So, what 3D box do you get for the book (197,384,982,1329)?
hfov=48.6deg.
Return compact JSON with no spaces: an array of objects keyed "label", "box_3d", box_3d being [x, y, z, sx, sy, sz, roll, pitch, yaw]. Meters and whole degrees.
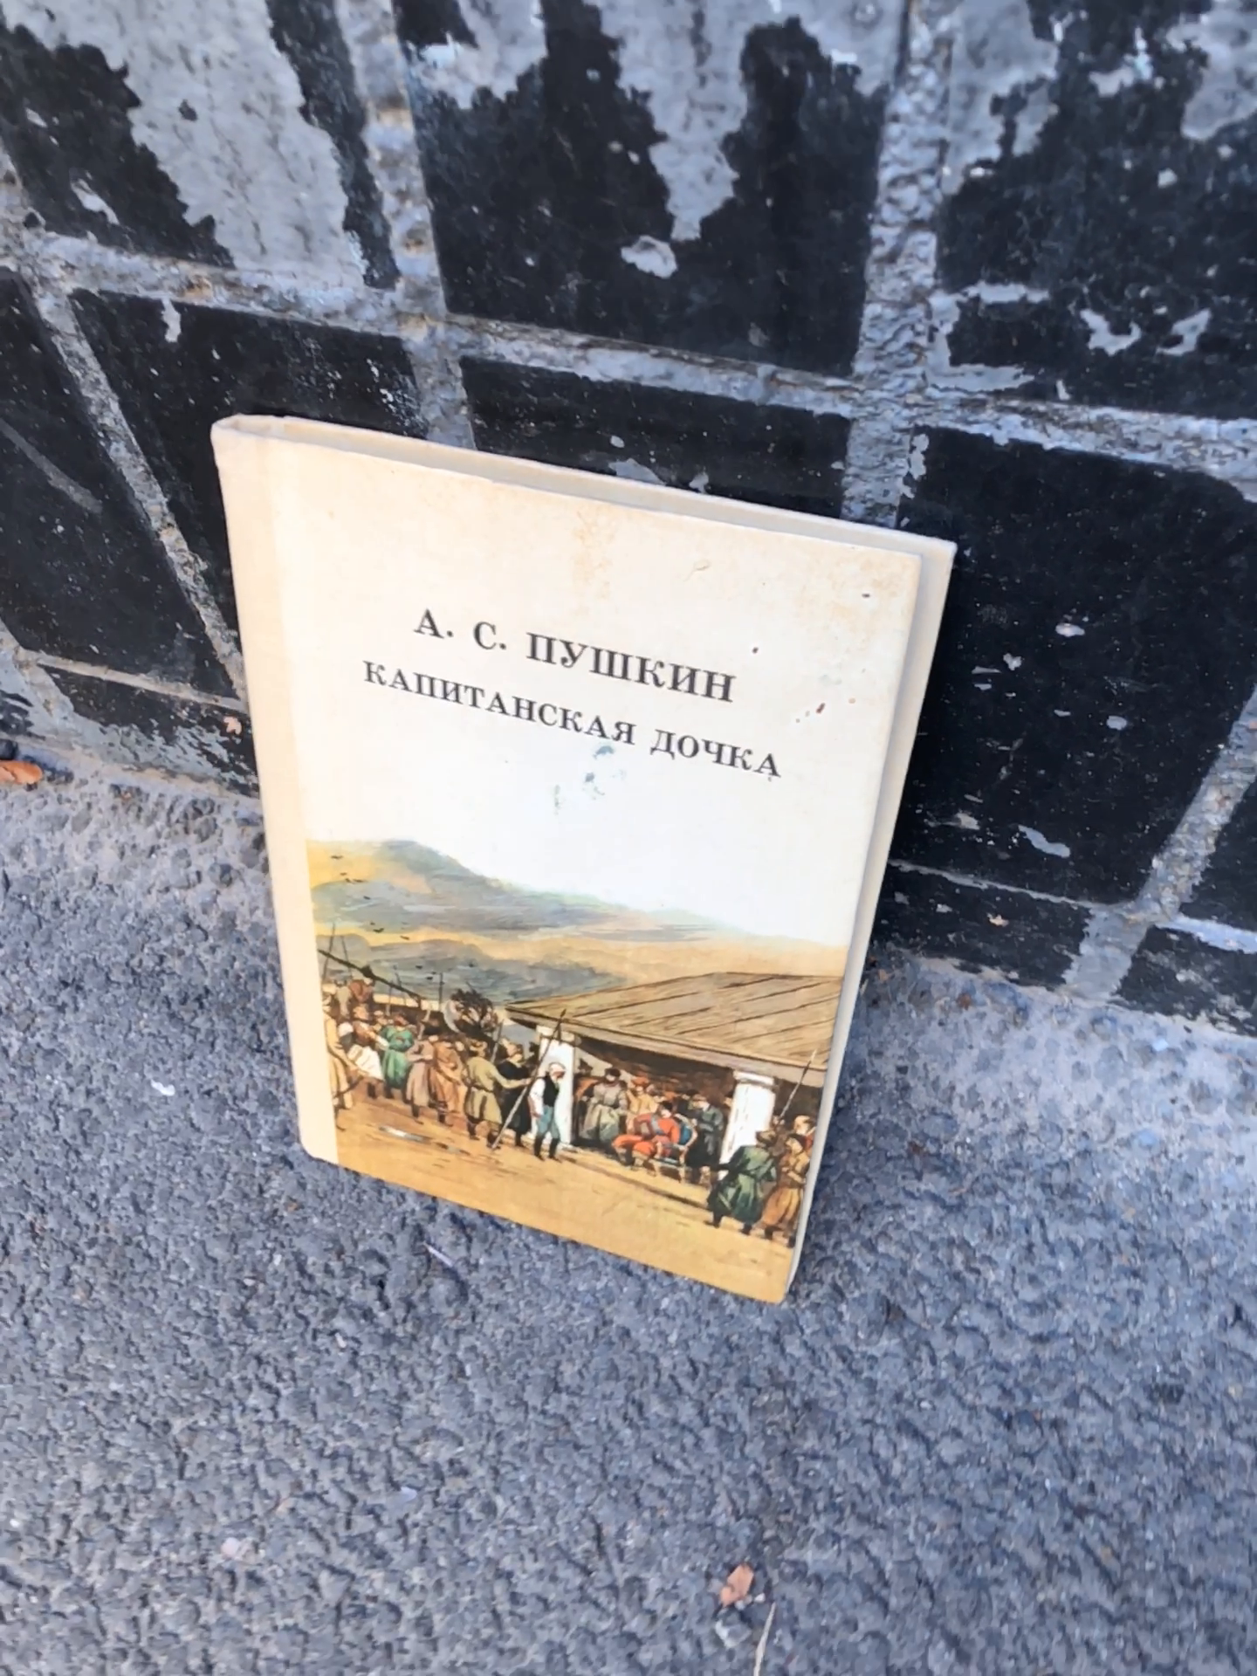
[{"label":"book","box_3d":[-0.017,0.019,0.320,0.145,0.215,0.023,14,38,11]}]
